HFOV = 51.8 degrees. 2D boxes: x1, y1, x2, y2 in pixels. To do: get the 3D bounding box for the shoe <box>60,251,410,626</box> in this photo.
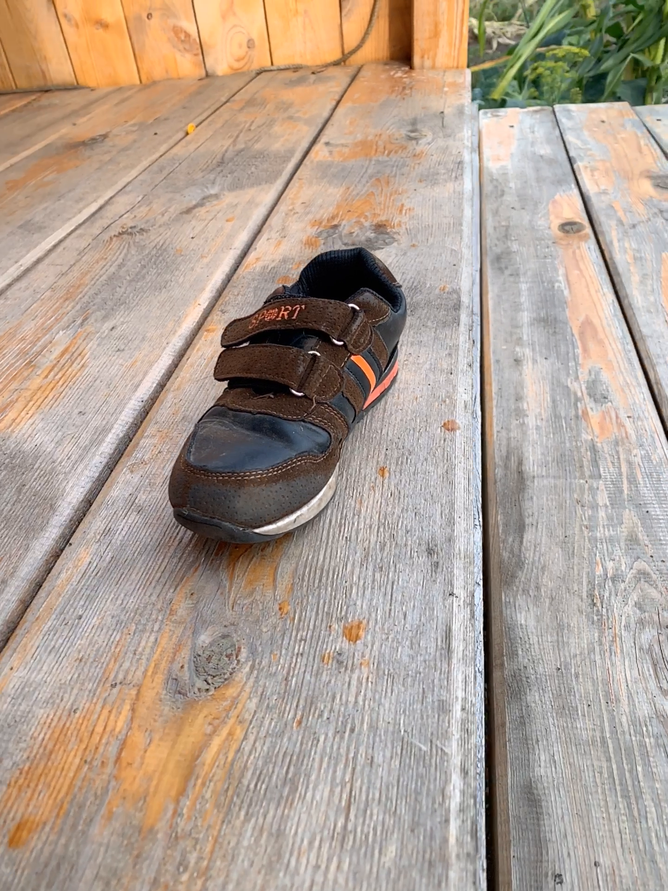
[{"bbox_3d":[-0.032,-0.019,0.363,0.090,0.089,0.191,9,40,20],"label":"shoe"}]
